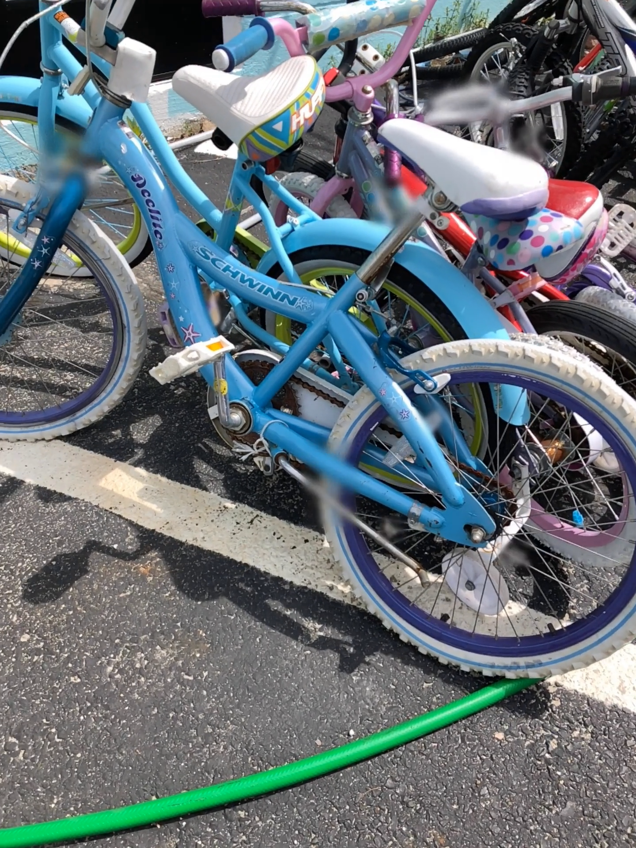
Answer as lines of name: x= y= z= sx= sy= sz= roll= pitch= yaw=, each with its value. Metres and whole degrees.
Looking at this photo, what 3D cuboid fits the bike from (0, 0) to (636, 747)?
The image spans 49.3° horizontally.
bike: x=-0.070 y=-0.280 z=0.924 sx=1.265 sy=0.777 sz=0.558 roll=21 pitch=44 yaw=12
